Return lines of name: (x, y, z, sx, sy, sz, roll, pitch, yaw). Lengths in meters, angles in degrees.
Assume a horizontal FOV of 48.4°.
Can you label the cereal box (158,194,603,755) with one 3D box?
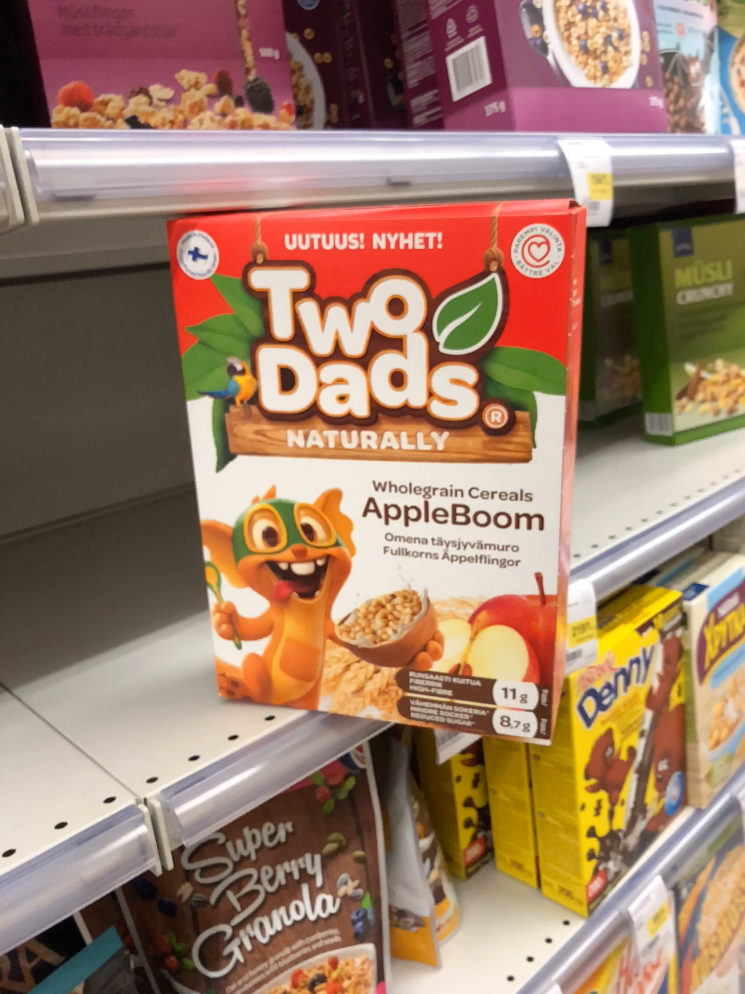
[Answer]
cereal box: (0.010, -0.016, 0.443, 0.200, 0.269, 0.080, 4, 20, 16)
